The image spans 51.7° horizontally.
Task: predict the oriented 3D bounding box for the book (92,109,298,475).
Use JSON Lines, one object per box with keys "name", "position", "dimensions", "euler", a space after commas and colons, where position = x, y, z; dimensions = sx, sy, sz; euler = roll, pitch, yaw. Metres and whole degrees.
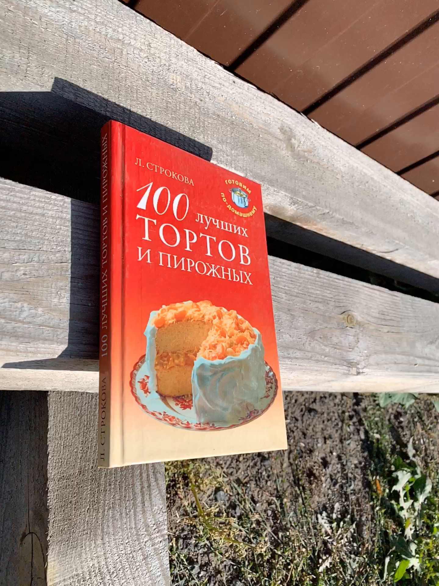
{"name": "book", "position": [-0.015, -0.002, 0.306], "dimensions": [0.143, 0.017, 0.218], "euler": [11, 65, -40]}
